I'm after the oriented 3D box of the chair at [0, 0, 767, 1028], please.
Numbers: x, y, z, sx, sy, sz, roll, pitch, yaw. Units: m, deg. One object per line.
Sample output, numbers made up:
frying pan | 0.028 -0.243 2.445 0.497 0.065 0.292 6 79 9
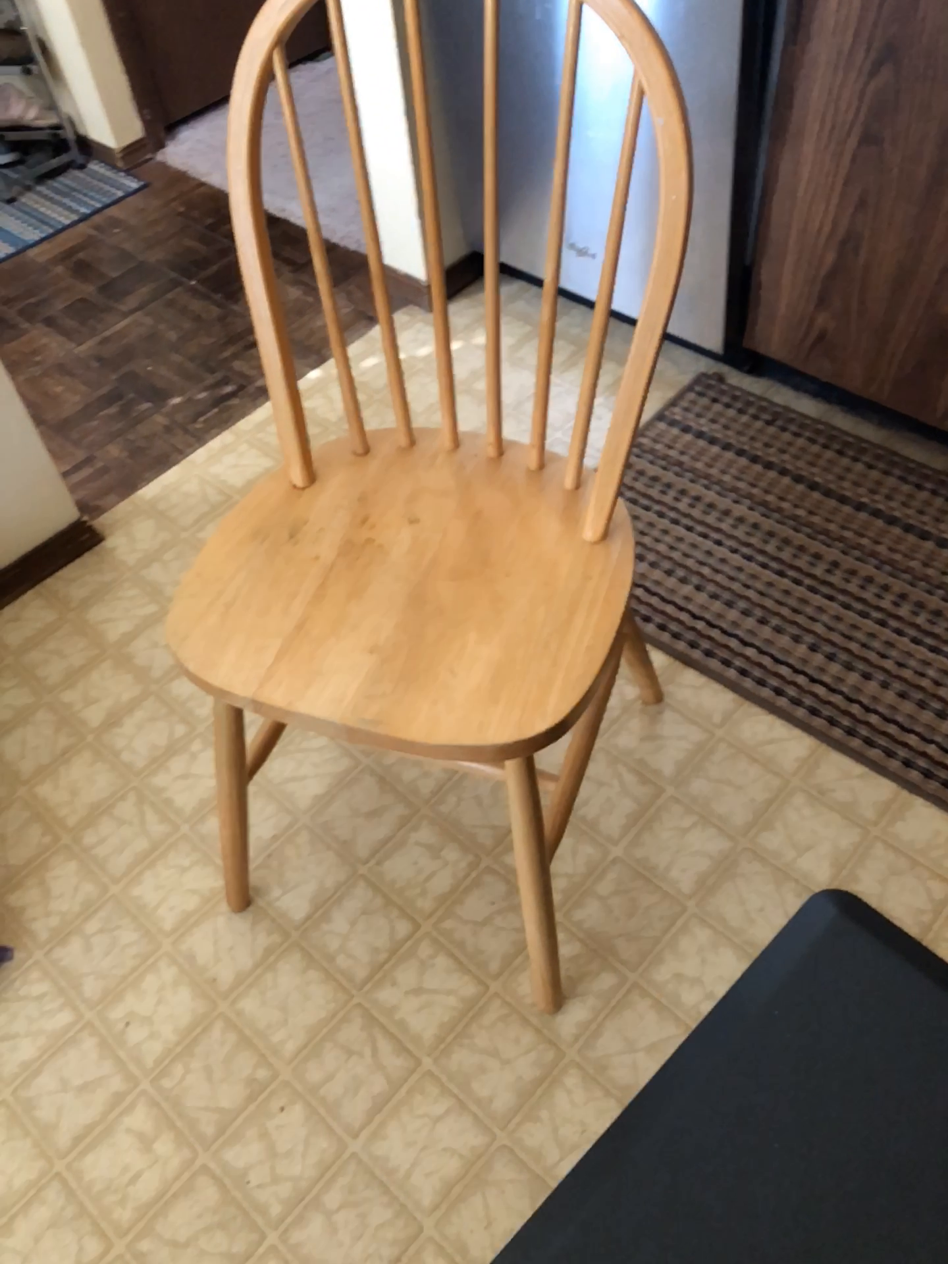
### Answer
chair | -0.053 -0.116 1.015 0.460 0.899 0.561 12 52 16
